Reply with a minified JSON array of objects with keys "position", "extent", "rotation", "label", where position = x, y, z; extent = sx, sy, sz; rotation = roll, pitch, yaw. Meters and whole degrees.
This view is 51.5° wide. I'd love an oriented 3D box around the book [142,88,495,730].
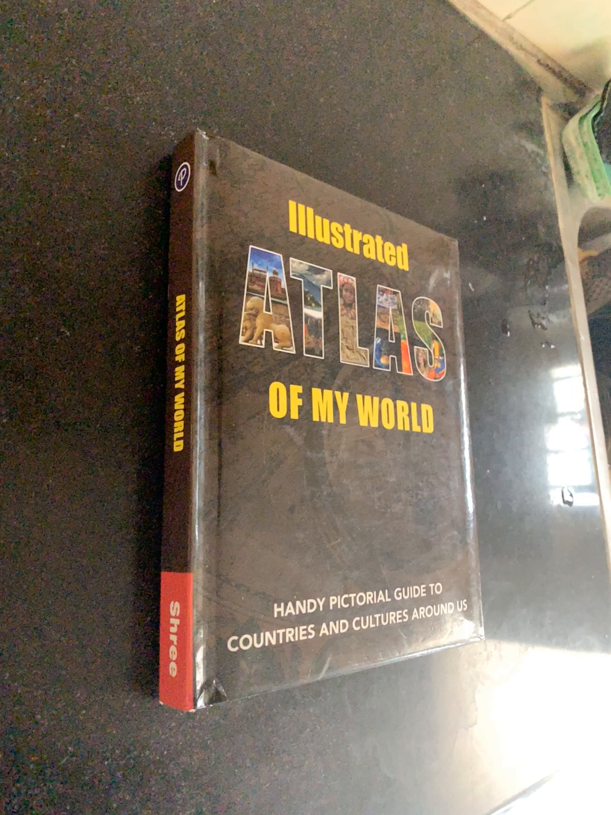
[{"position":[0.016,0.000,0.341],"extent":[0.201,0.040,0.270],"rotation":[7,77,-40],"label":"book"}]
